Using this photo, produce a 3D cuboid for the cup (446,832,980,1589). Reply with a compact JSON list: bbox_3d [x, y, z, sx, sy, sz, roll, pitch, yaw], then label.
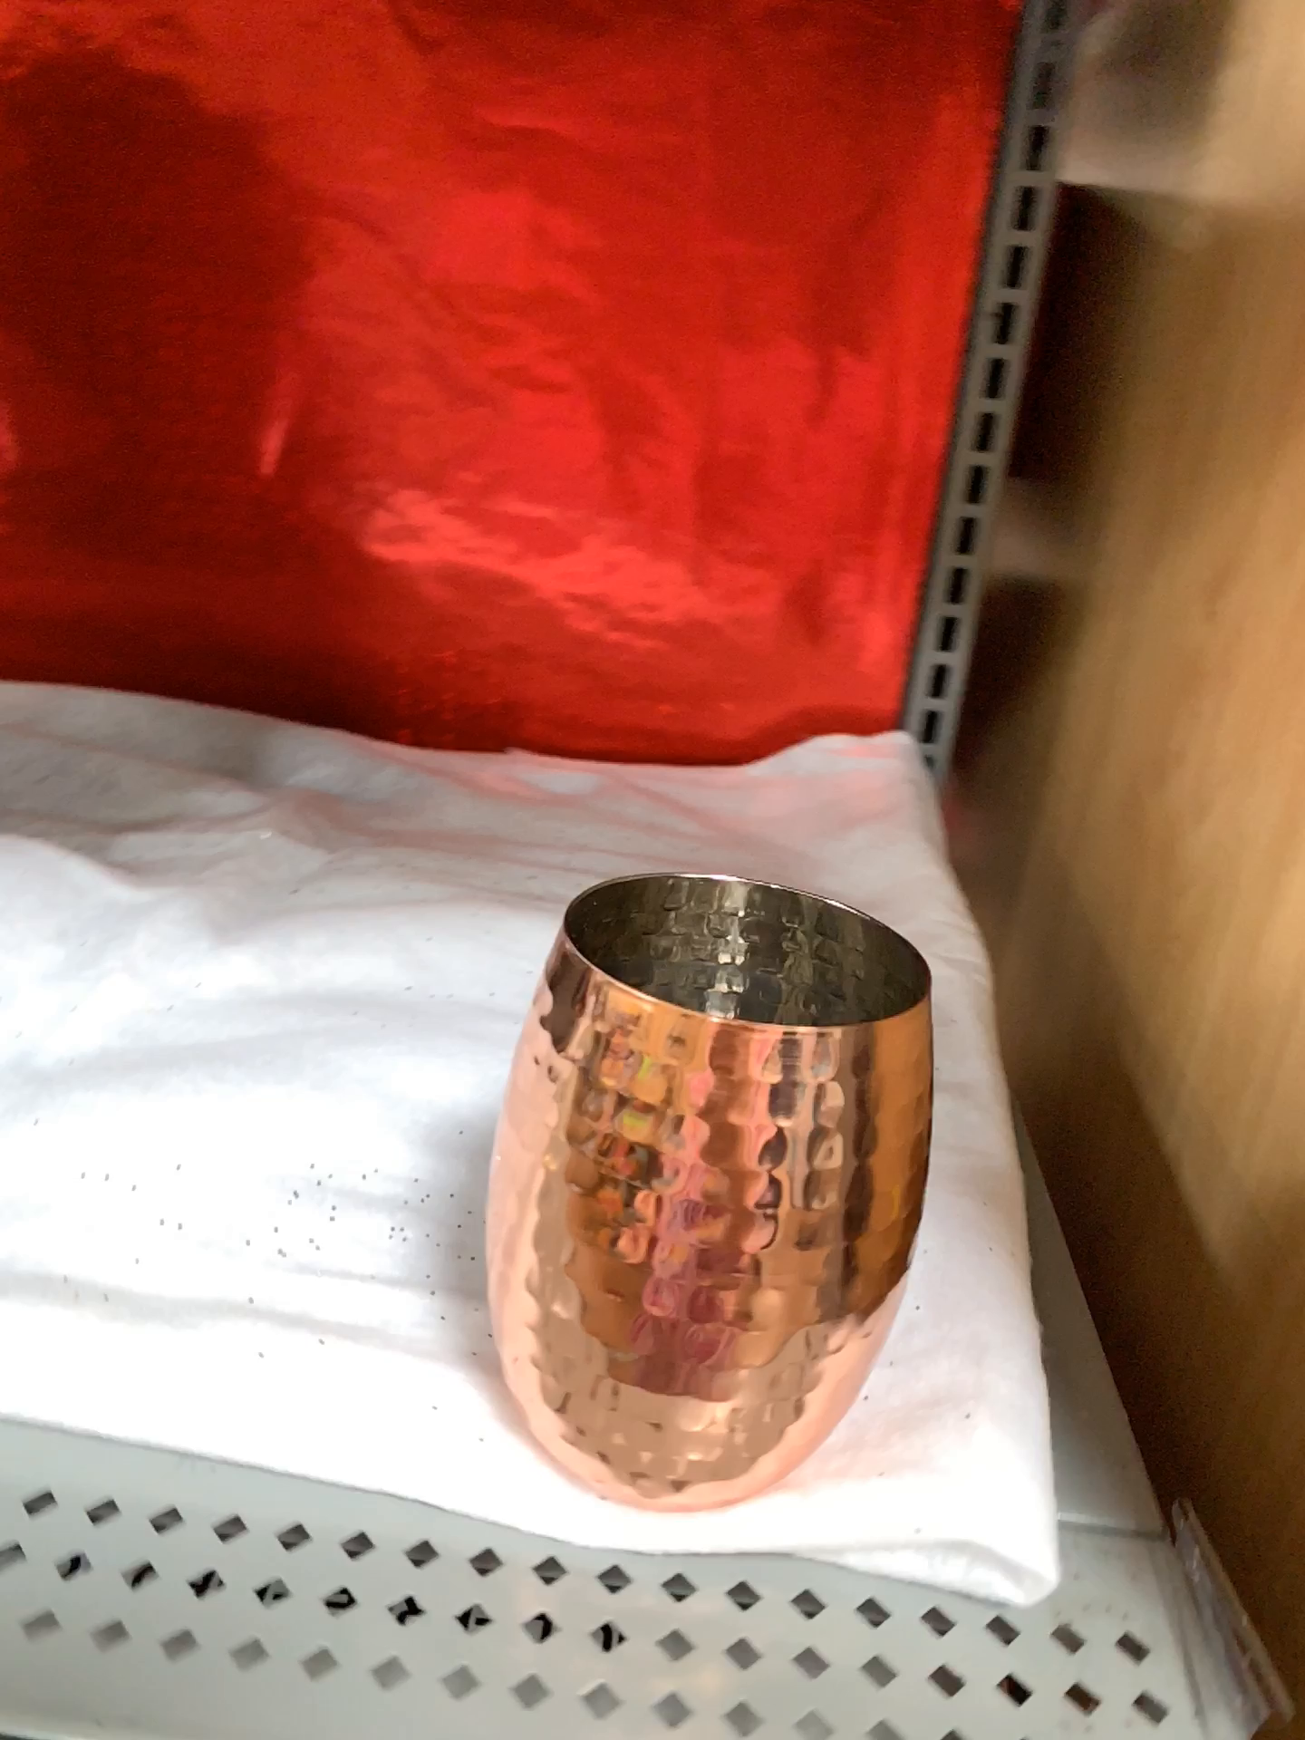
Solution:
[{"bbox_3d":[0.012,0.060,0.264,0.078,0.104,0.080,5,22,-2],"label":"cup"}]
